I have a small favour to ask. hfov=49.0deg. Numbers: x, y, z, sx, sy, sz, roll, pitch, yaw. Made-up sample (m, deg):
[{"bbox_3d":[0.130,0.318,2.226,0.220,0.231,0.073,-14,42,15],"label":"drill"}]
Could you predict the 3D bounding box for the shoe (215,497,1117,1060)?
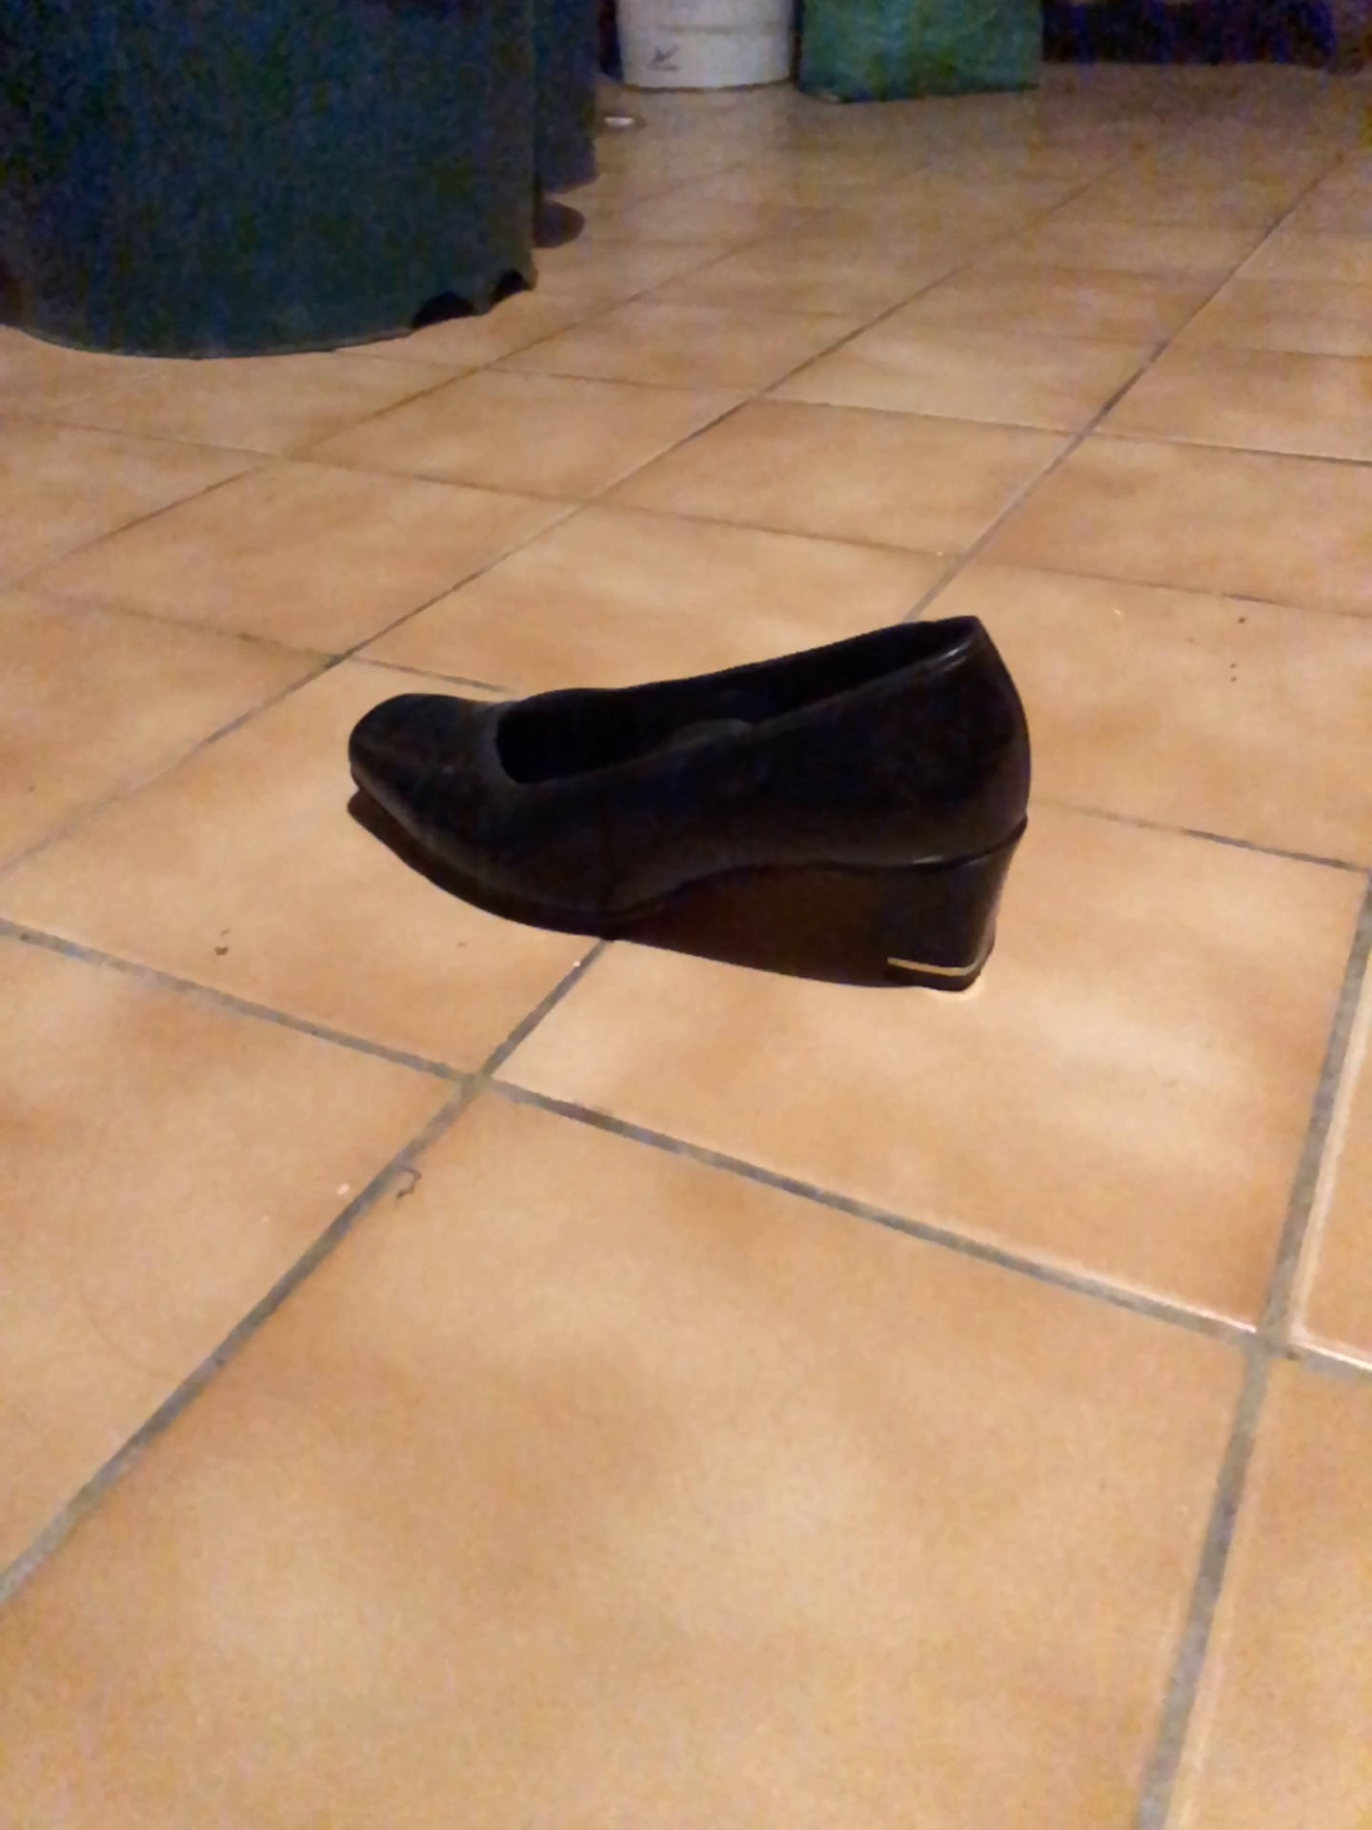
[{"bbox_3d":[-0.009,-0.055,0.469,0.250,0.089,0.101,16,38,25],"label":"shoe"}]
